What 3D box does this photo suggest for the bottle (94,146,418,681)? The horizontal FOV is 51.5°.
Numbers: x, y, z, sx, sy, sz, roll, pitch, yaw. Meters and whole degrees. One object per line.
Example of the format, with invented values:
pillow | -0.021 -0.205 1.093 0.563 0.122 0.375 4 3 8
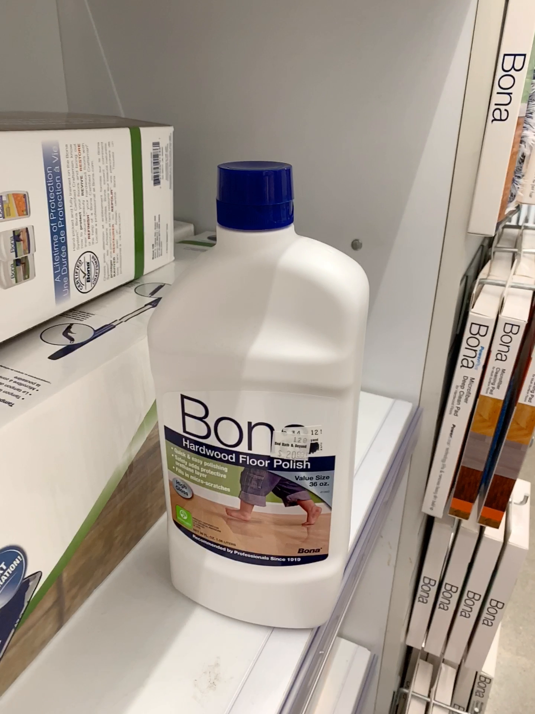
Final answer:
bottle | -0.002 0.035 0.286 0.120 0.259 0.070 7 26 13
